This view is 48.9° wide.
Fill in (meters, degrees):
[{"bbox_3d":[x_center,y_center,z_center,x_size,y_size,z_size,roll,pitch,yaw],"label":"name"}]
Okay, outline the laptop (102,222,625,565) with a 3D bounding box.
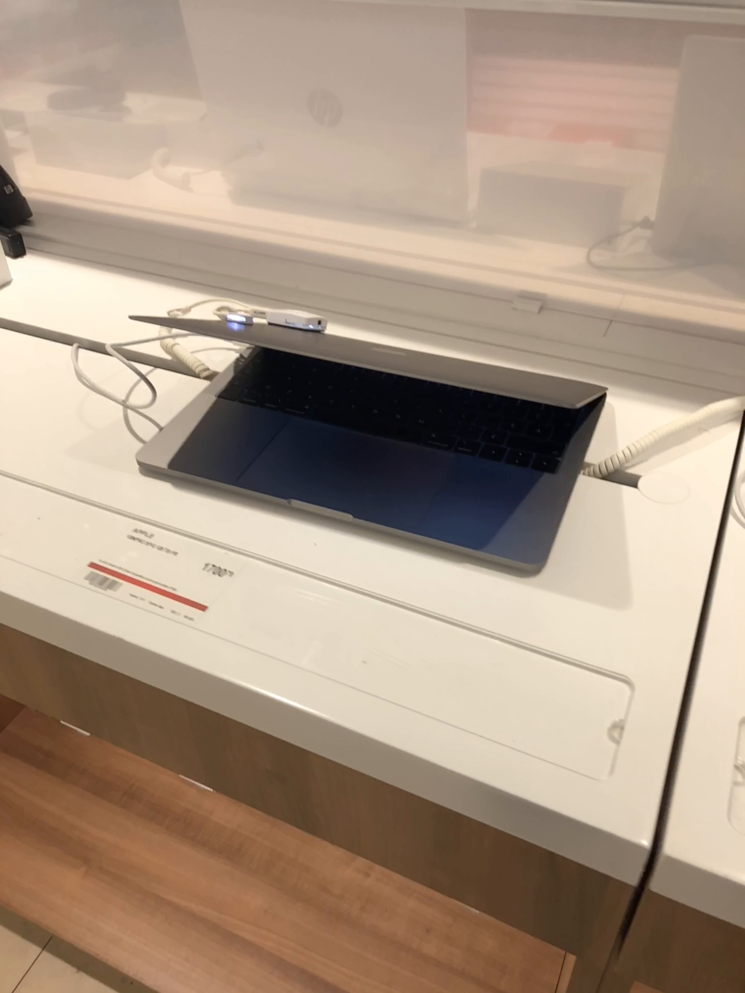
[{"bbox_3d":[0.003,-0.092,0.592,0.304,0.104,0.202,14,42,18],"label":"laptop"}]
